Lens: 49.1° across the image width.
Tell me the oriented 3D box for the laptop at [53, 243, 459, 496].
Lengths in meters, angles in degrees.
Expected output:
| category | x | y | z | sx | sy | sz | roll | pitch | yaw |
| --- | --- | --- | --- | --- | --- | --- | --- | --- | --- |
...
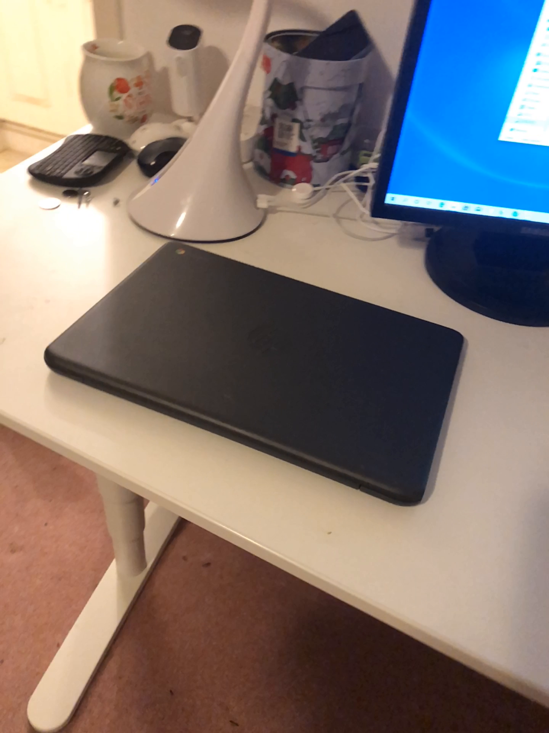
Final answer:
| category | x | y | z | sx | sy | sz | roll | pitch | yaw |
| --- | --- | --- | --- | --- | --- | --- | --- | --- | --- |
| laptop | -0.004 | -0.020 | 0.561 | 0.326 | 0.001 | 0.209 | 19 | 44 | 12 |
